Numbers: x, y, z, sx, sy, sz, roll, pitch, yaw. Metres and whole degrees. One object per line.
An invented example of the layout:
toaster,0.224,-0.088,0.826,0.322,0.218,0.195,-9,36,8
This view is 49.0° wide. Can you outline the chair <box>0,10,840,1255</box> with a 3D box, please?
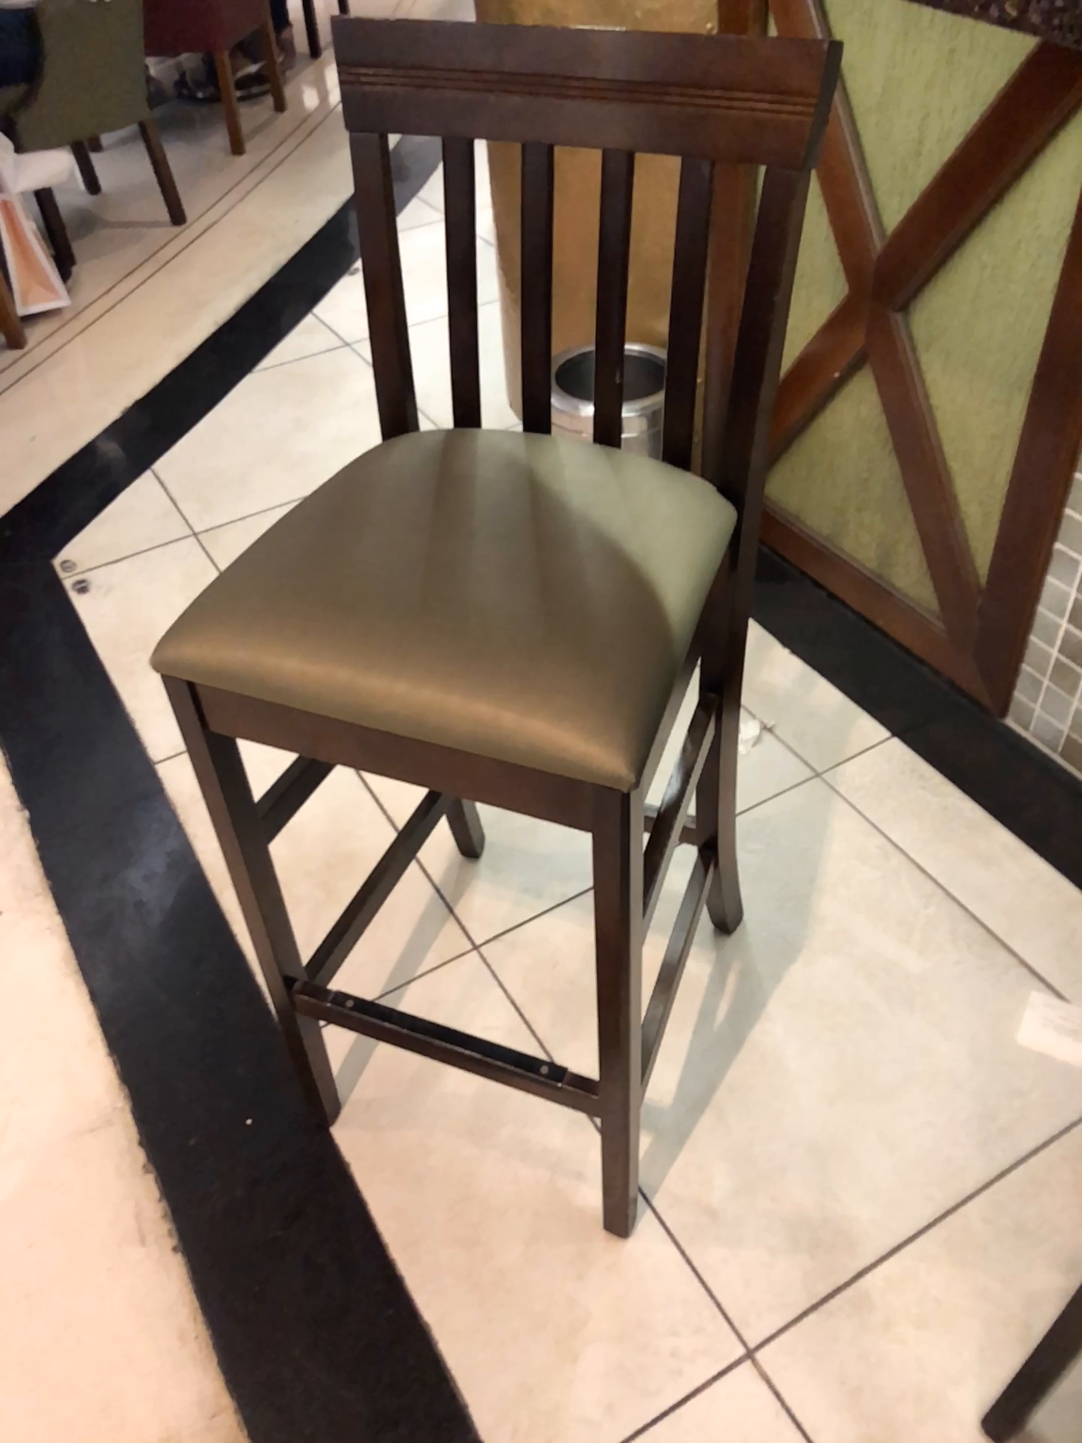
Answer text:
chair,-0.057,-0.026,1.140,0.460,1.033,0.493,13,45,18
